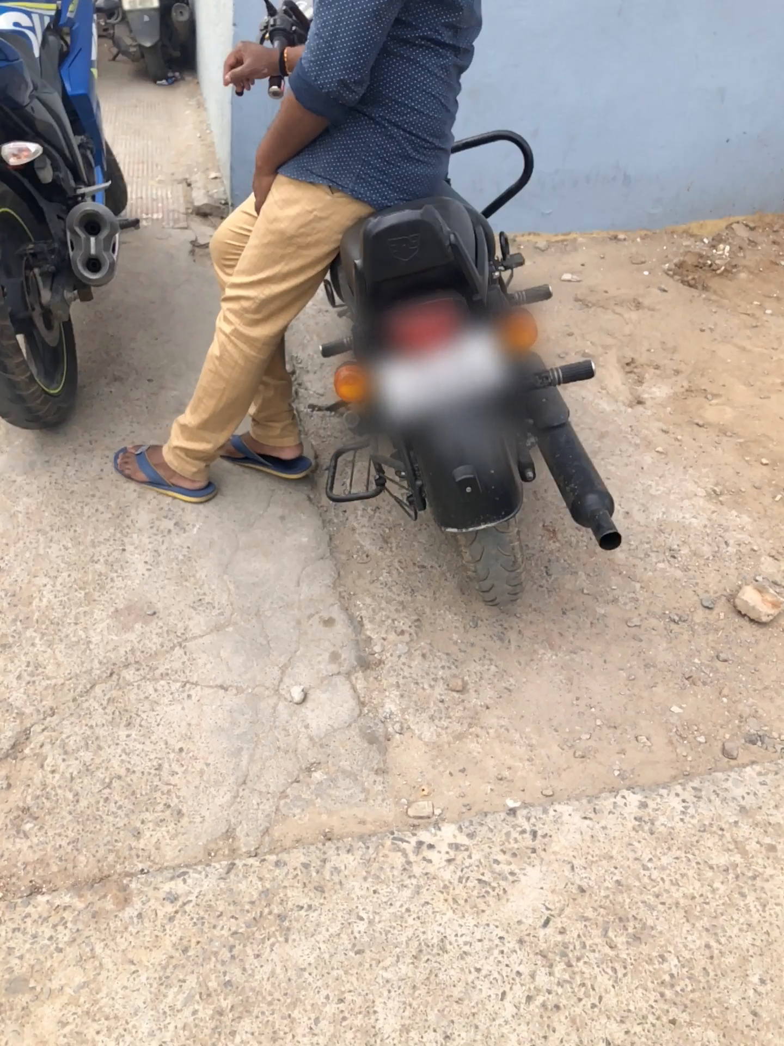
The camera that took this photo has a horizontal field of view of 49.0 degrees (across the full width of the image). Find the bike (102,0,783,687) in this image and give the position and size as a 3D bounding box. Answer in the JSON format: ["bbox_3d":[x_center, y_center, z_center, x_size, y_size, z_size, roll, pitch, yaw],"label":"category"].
[{"bbox_3d":[-0.092,-0.782,1.816,0.778,1.245,1.547,0,42,-12],"label":"bike"}]
